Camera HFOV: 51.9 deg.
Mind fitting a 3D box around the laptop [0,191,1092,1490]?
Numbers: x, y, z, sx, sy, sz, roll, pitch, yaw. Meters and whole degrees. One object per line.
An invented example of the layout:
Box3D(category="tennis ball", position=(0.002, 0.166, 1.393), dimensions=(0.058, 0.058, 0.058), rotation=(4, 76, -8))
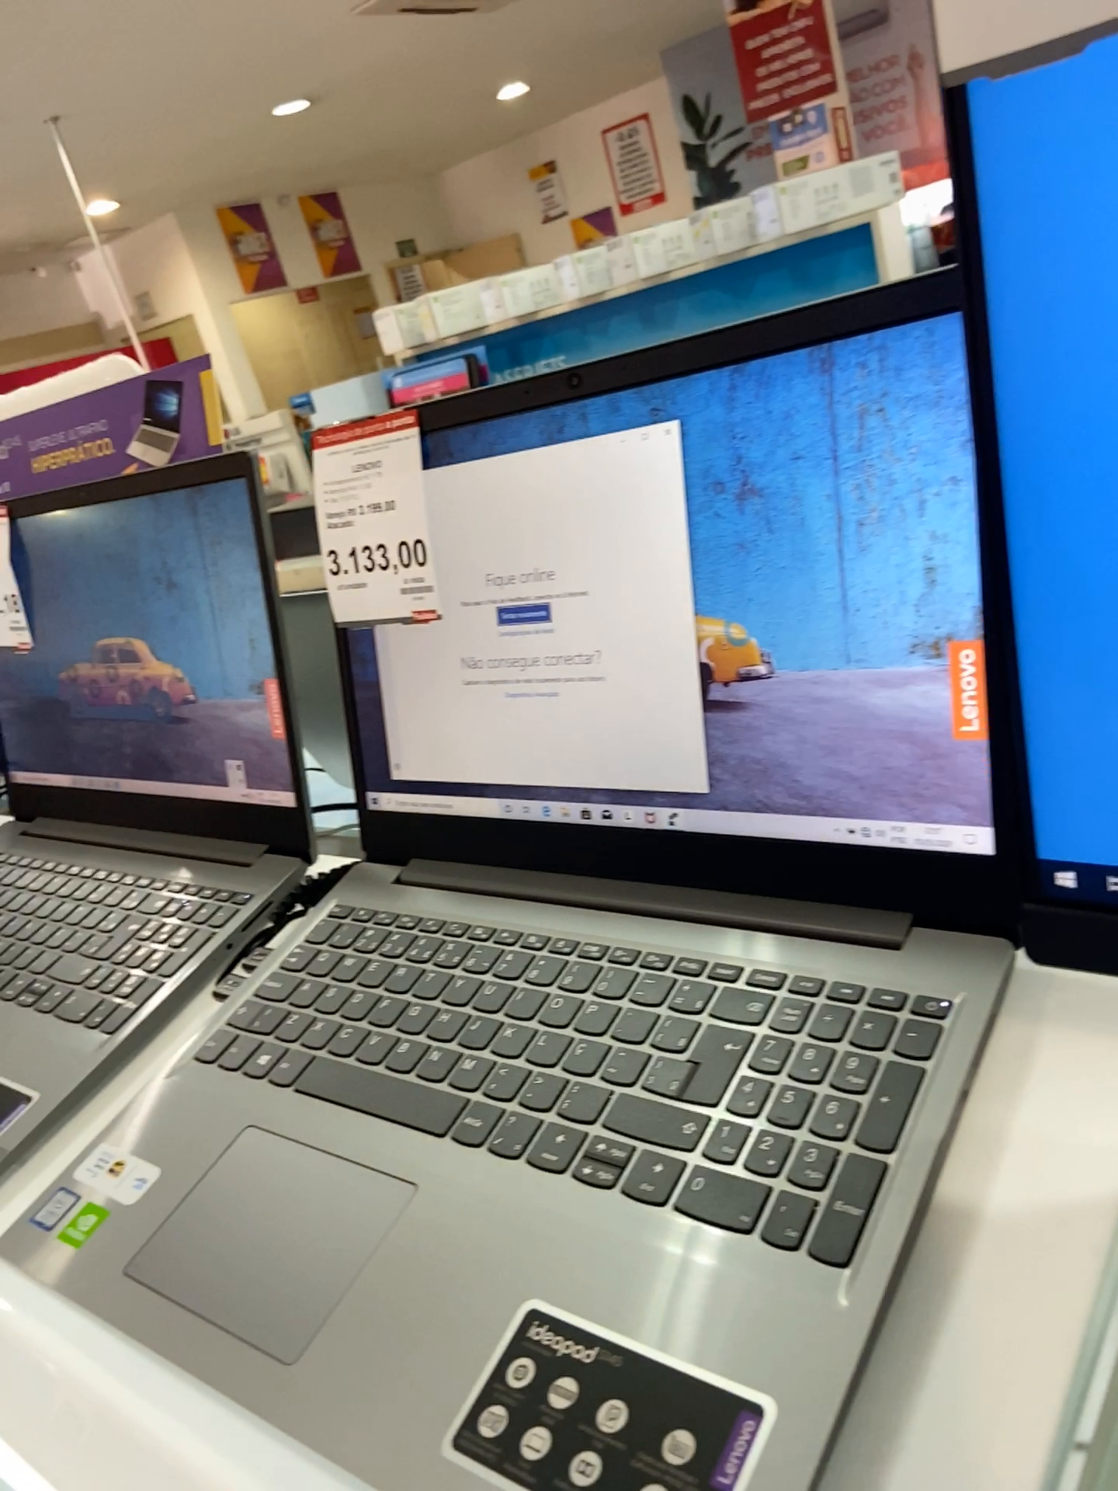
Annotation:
Box3D(category="laptop", position=(-0.040, 0.007, 0.450), dimensions=(0.363, 0.224, 0.361), rotation=(0, 33, 39))
